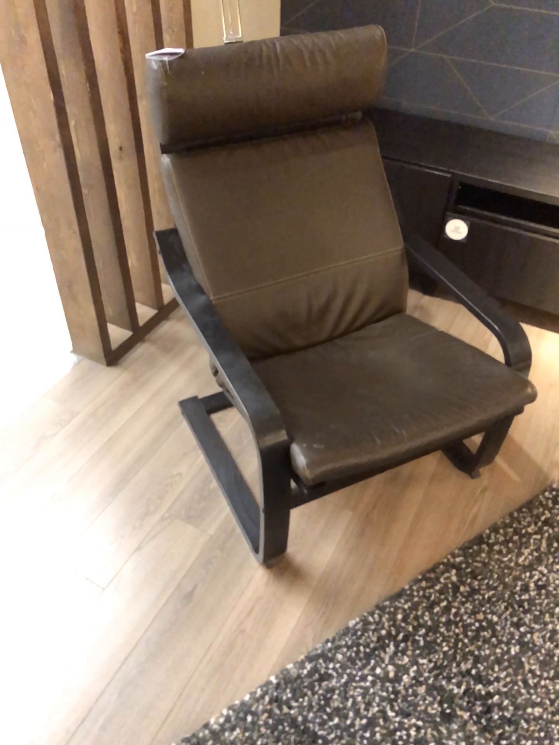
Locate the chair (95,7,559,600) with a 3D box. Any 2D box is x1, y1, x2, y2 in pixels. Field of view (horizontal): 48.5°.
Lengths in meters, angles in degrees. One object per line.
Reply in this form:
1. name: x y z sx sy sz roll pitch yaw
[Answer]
1. chair: 0.156 -0.189 1.366 0.781 0.876 0.732 -18 46 -20
